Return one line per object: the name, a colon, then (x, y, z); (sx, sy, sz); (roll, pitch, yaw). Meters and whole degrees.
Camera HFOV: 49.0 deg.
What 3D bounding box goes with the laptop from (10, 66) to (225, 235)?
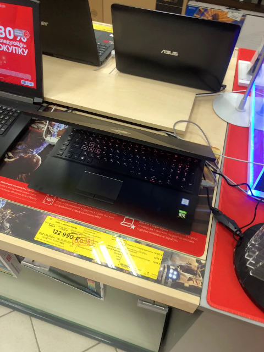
laptop: (-0.019, -0.073, 0.673); (0.394, 0.166, 0.259); (15, 52, 10)
